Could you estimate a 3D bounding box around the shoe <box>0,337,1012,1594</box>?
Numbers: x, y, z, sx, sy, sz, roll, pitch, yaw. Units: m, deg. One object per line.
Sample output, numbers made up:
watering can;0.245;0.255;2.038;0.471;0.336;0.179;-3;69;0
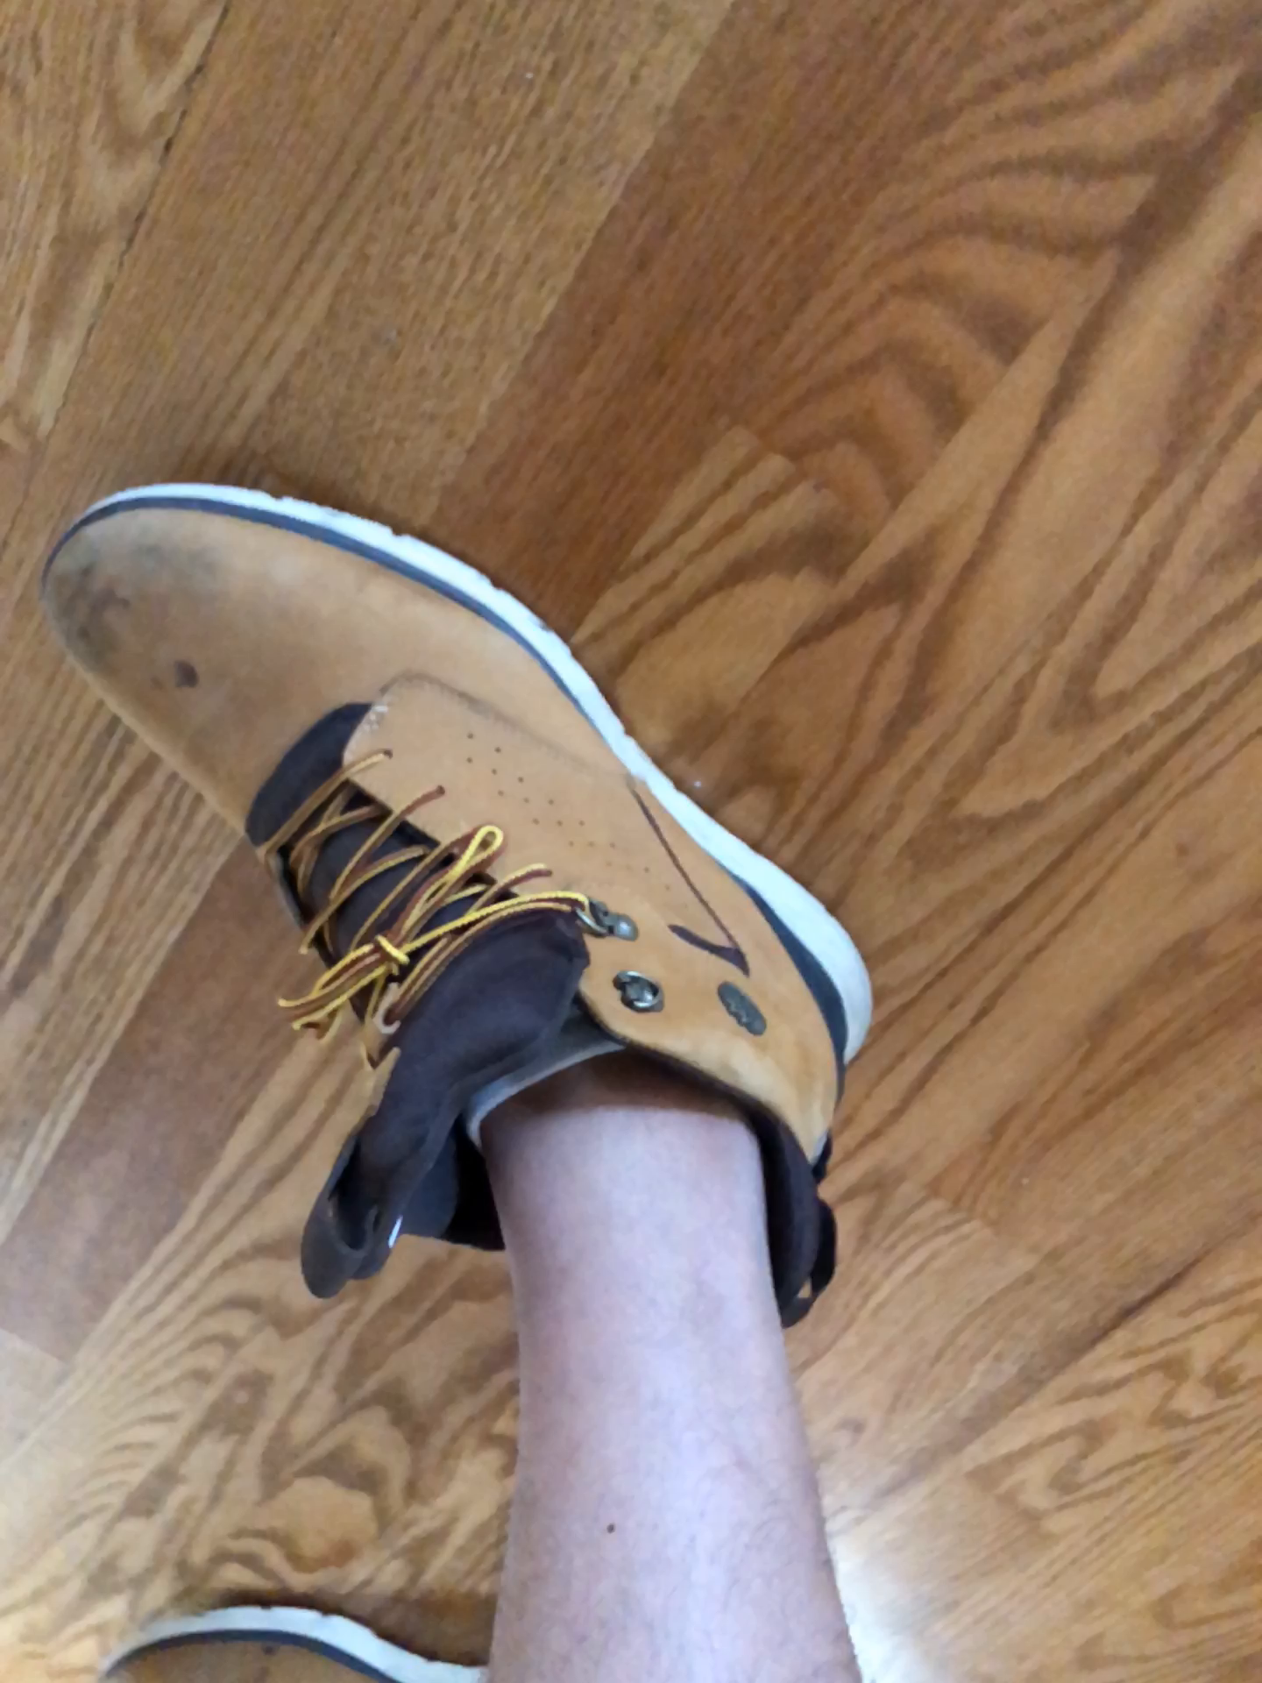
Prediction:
shoe;-0.052;0.021;0.393;0.310;0.169;0.120;40;117;-6
